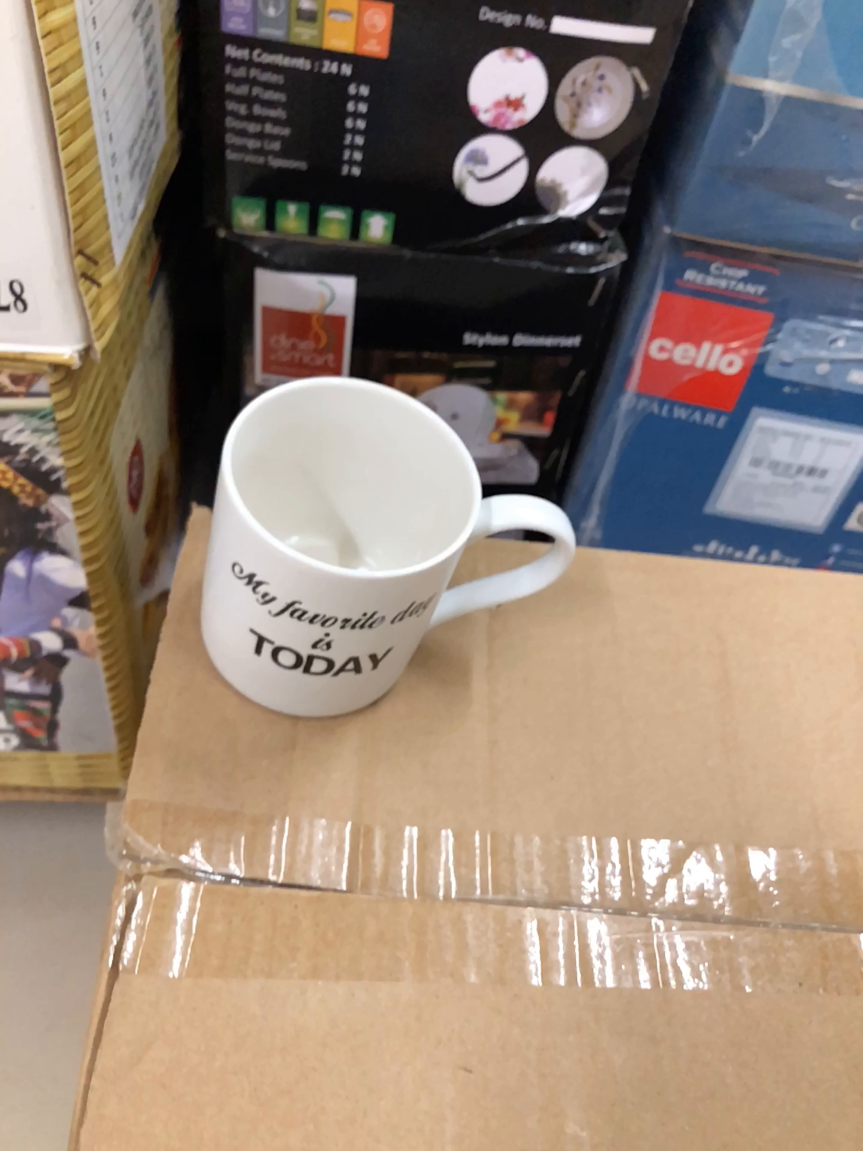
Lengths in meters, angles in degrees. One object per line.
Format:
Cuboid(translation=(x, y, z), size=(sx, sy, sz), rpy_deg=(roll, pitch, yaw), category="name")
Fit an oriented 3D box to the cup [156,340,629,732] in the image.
Cuboid(translation=(-0.023, -0.008, 0.326), size=(0.130, 0.099, 0.080), rpy_deg=(1, 54, -19), category="cup")
